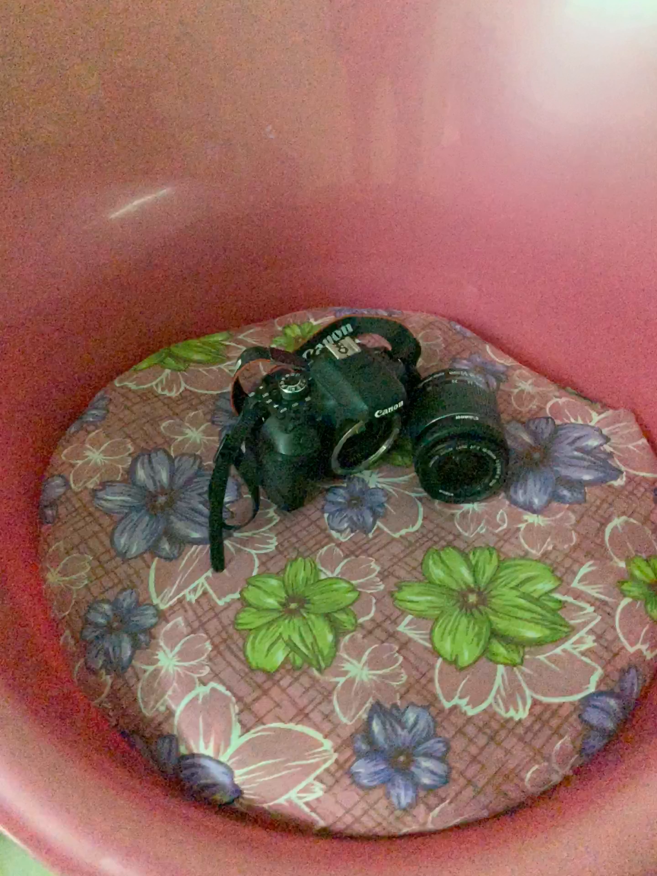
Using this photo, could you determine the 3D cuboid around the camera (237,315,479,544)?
[{"bbox_3d":[0.021,-0.009,0.493,0.143,0.078,0.086,-29,57,-21],"label":"camera"}]
